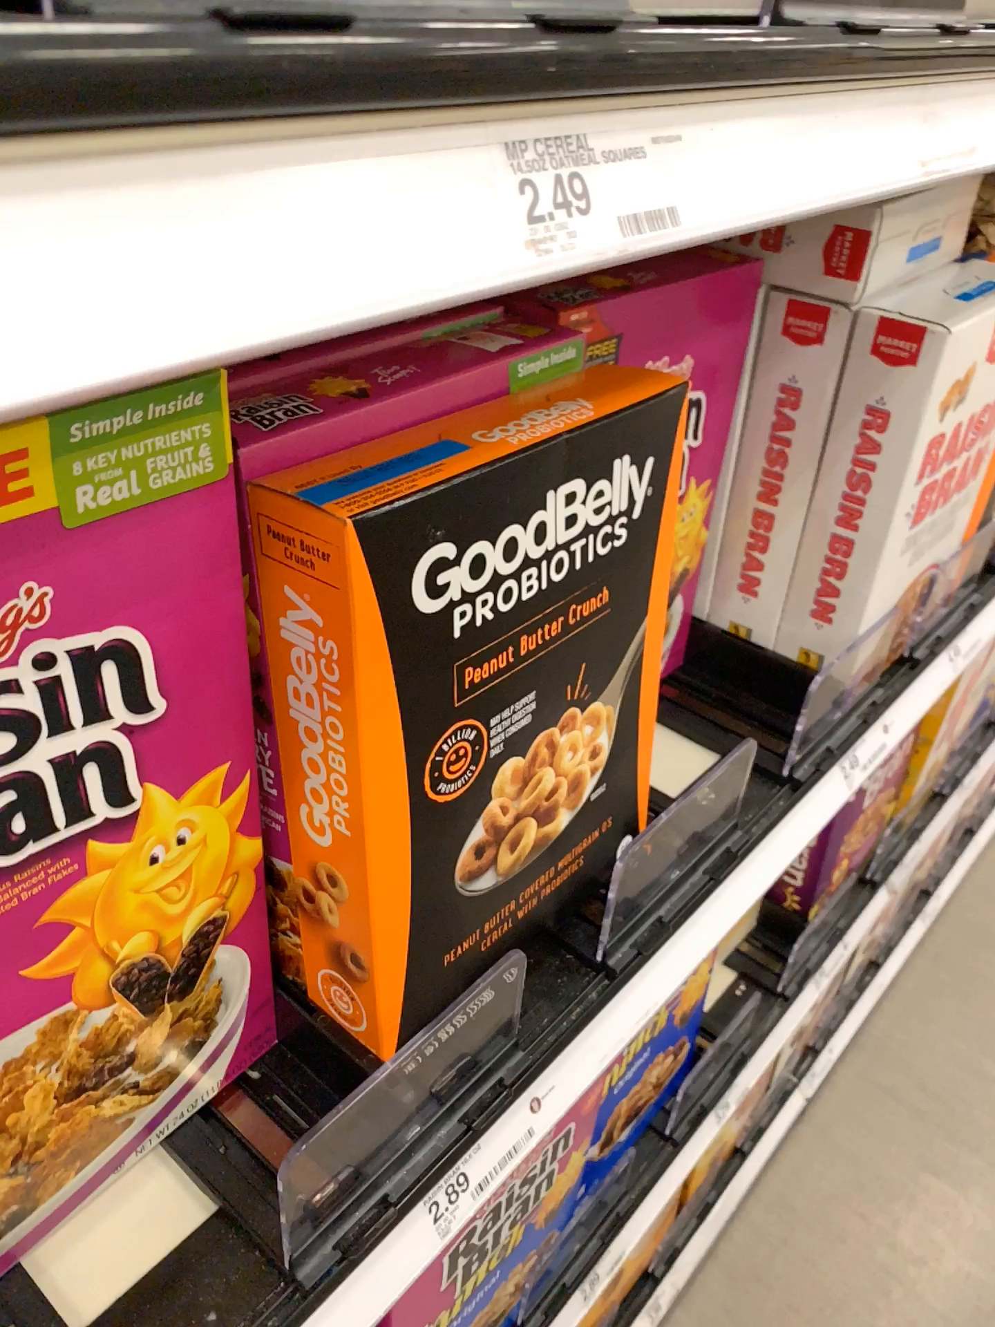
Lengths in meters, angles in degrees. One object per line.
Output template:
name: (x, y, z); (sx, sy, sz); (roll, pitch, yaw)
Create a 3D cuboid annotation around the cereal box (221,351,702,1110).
cereal box: (0.002, 0.021, 0.426); (0.050, 0.249, 0.201); (22, 38, 34)
